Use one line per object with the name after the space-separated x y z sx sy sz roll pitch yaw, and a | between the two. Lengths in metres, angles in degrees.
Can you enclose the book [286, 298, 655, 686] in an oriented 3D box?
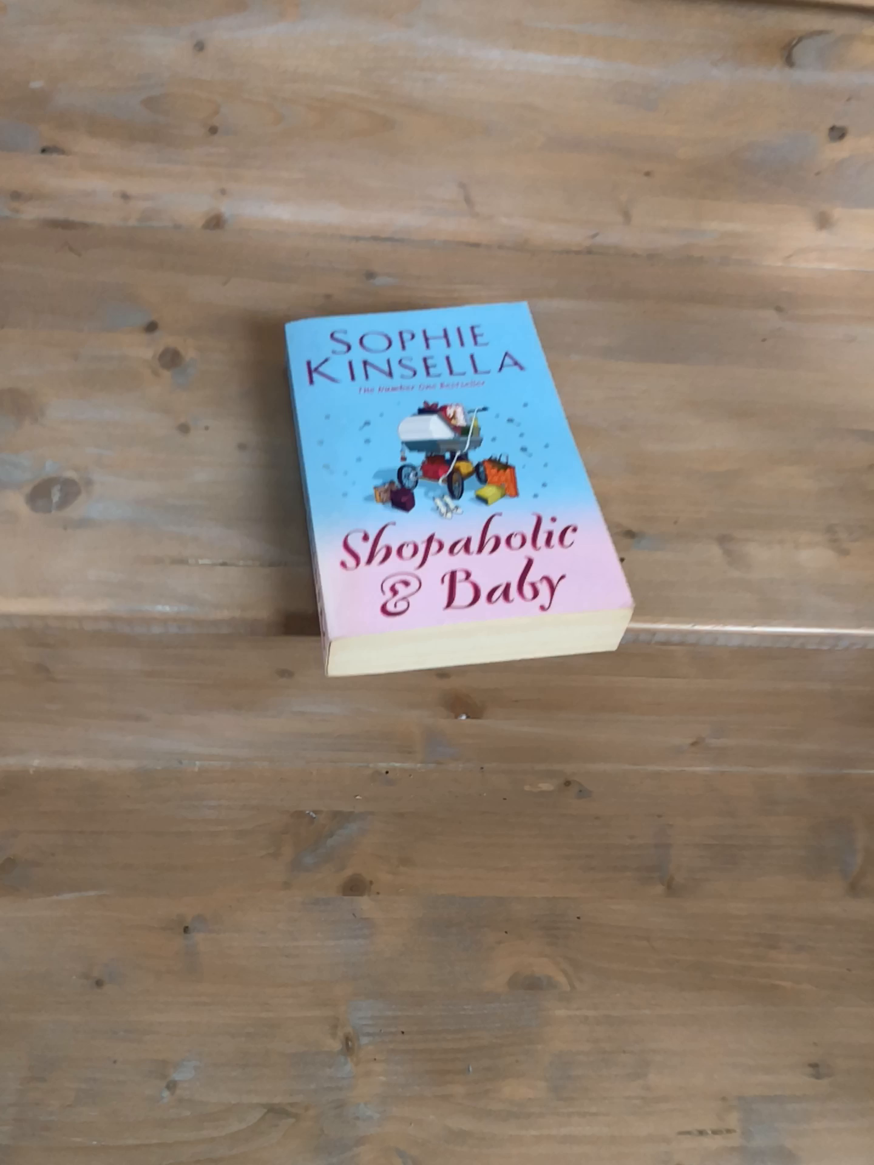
0.004 -0.056 0.459 0.131 0.031 0.212 -6 52 -9 | book
